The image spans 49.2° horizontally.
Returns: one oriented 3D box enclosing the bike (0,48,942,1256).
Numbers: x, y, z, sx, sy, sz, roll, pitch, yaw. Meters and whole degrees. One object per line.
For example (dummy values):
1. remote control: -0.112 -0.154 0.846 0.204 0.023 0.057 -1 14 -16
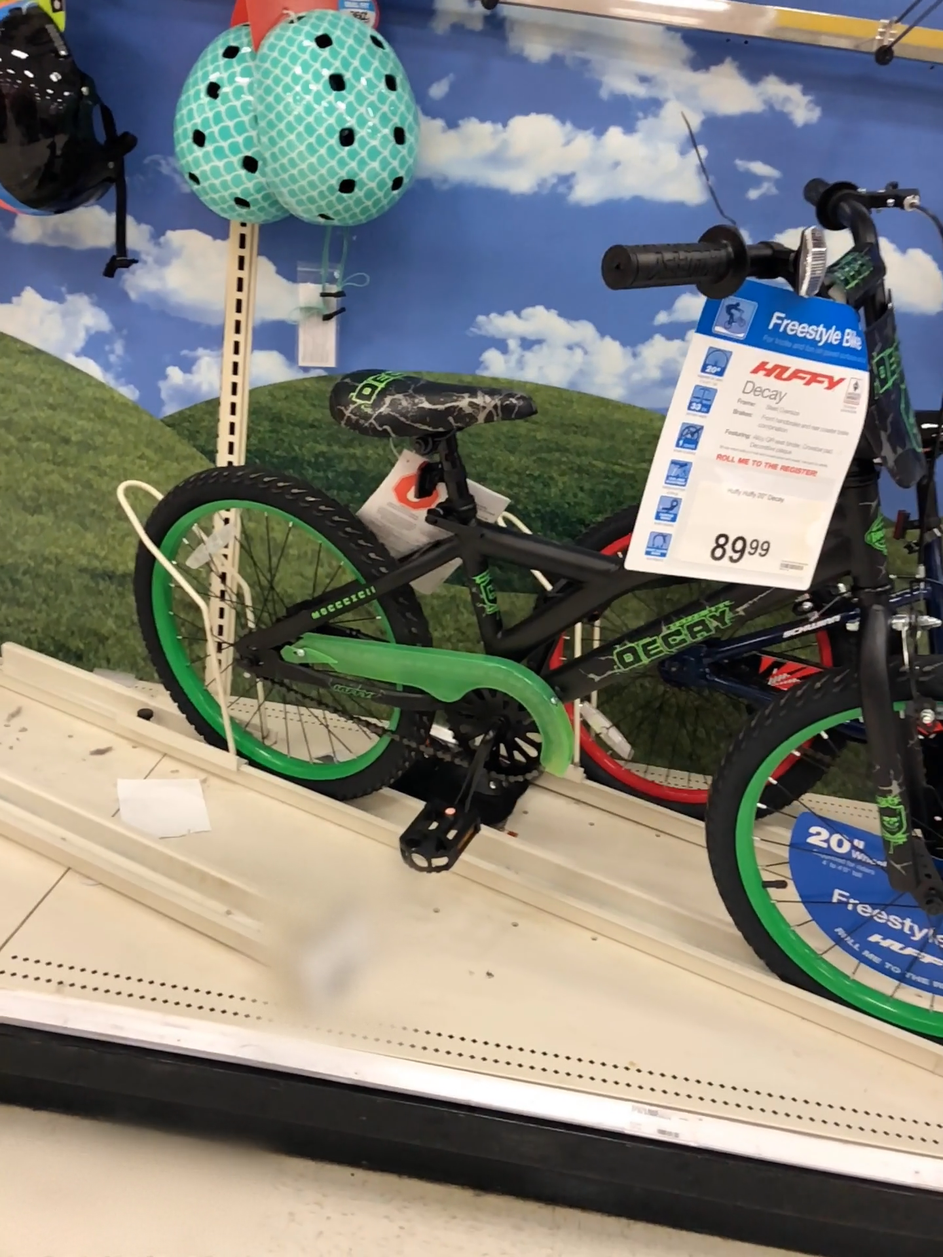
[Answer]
1. bike: 0.179 -0.074 1.182 1.361 0.880 0.630 16 21 22
